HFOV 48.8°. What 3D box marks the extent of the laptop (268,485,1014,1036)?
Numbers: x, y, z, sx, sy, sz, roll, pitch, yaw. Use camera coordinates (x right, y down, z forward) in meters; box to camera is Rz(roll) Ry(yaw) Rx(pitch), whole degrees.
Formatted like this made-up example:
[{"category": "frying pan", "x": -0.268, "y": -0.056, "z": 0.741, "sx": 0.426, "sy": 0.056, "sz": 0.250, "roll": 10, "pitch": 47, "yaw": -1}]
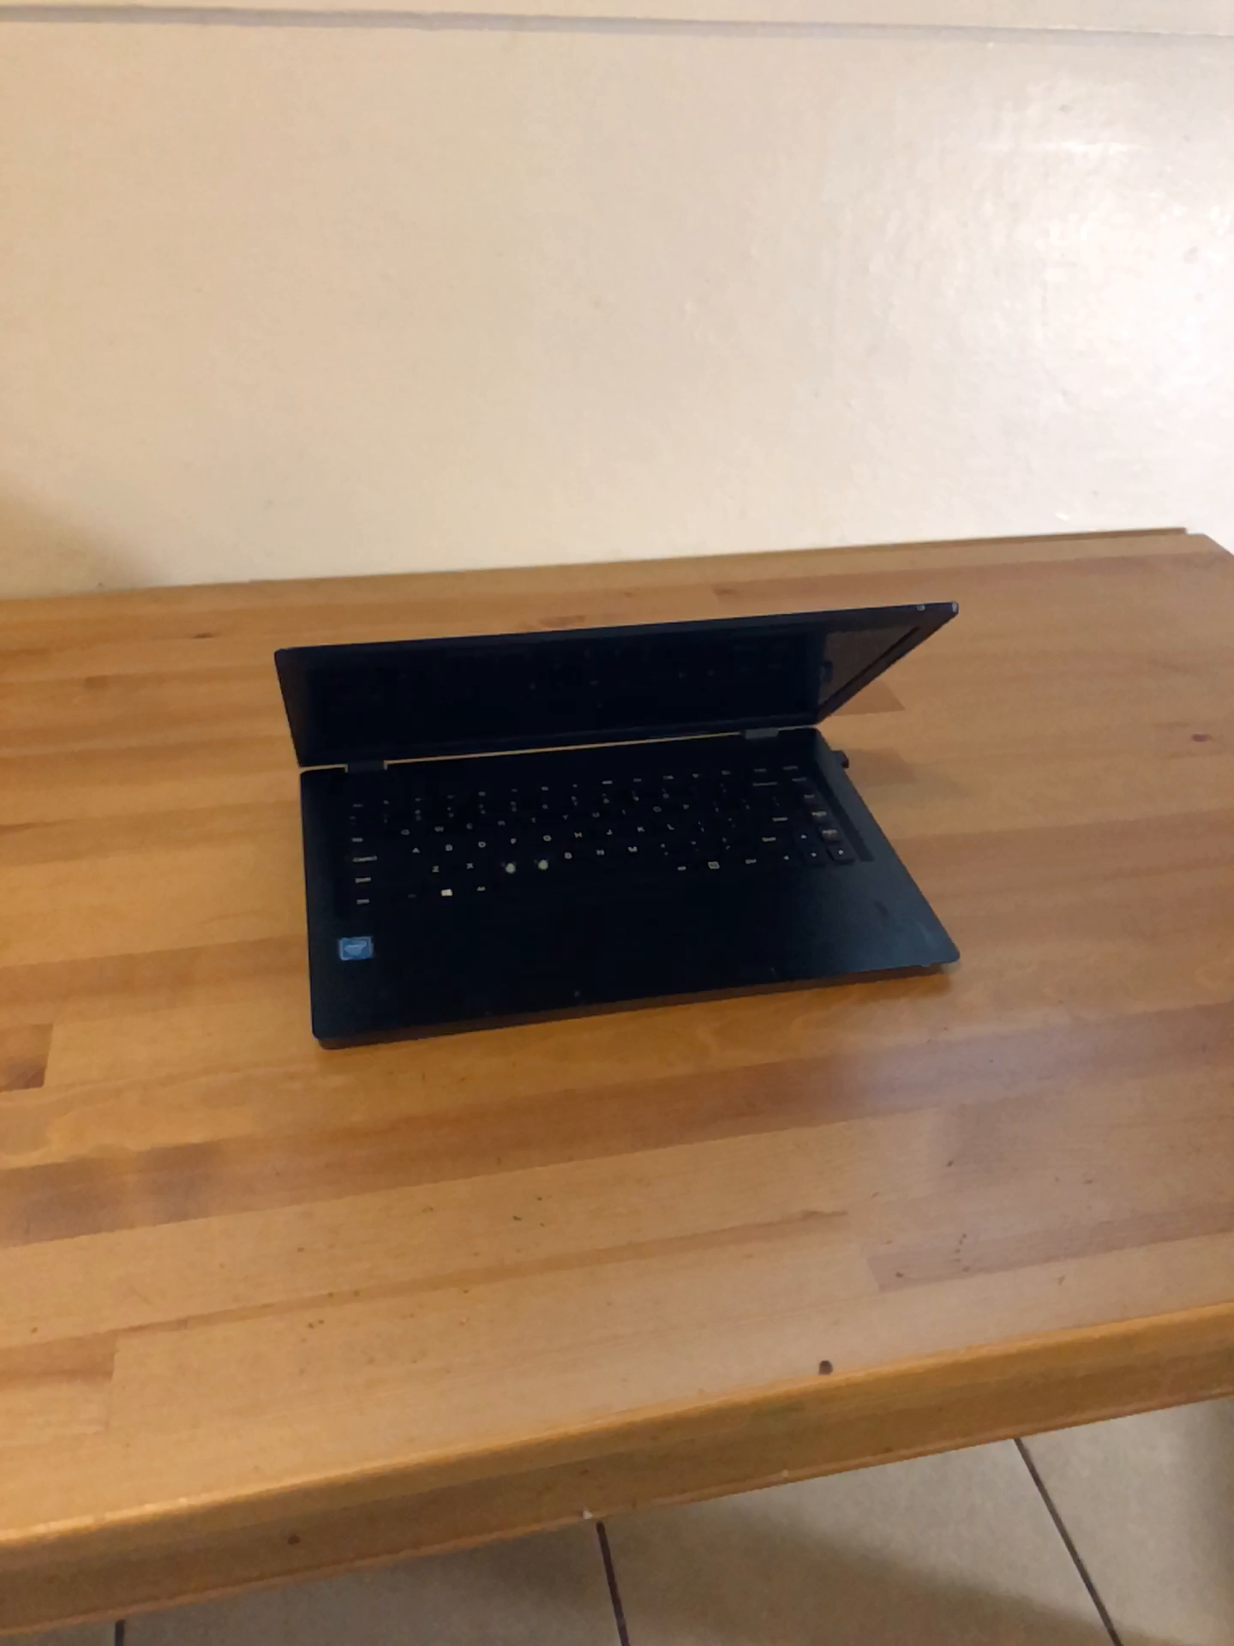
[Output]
[{"category": "laptop", "x": -0.006, "y": -0.046, "z": 0.694, "sx": 0.317, "sy": 0.161, "sz": 0.217, "roll": -5, "pitch": 37, "yaw": -11}]
